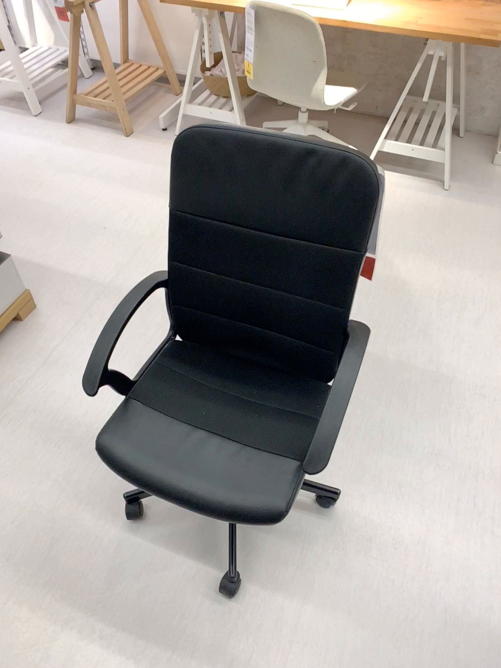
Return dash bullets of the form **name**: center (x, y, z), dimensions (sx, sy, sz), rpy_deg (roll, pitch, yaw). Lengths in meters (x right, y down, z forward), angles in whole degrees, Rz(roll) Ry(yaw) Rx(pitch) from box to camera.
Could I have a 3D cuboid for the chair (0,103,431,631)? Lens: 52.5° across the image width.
- **chair**: center (-0.059, 0.136, 1.167), dimensions (0.610, 0.997, 0.582), rpy_deg (14, 49, 12)
